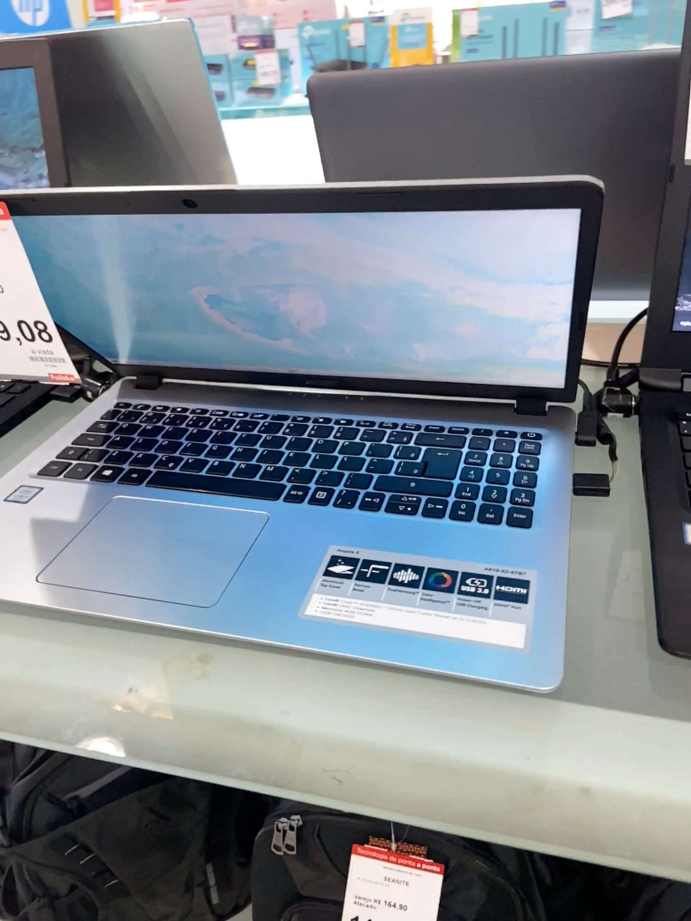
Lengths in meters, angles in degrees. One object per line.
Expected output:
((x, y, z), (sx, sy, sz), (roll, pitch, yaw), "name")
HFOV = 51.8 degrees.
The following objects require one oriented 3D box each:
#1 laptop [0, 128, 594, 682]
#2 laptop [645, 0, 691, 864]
((-0.056, -0.061, 0.395), (0.352, 0.175, 0.237), (5, 34, 16), "laptop")
((0.344, -0.087, 0.302), (0.354, 0.238, 0.289), (4, 33, 18), "laptop")
